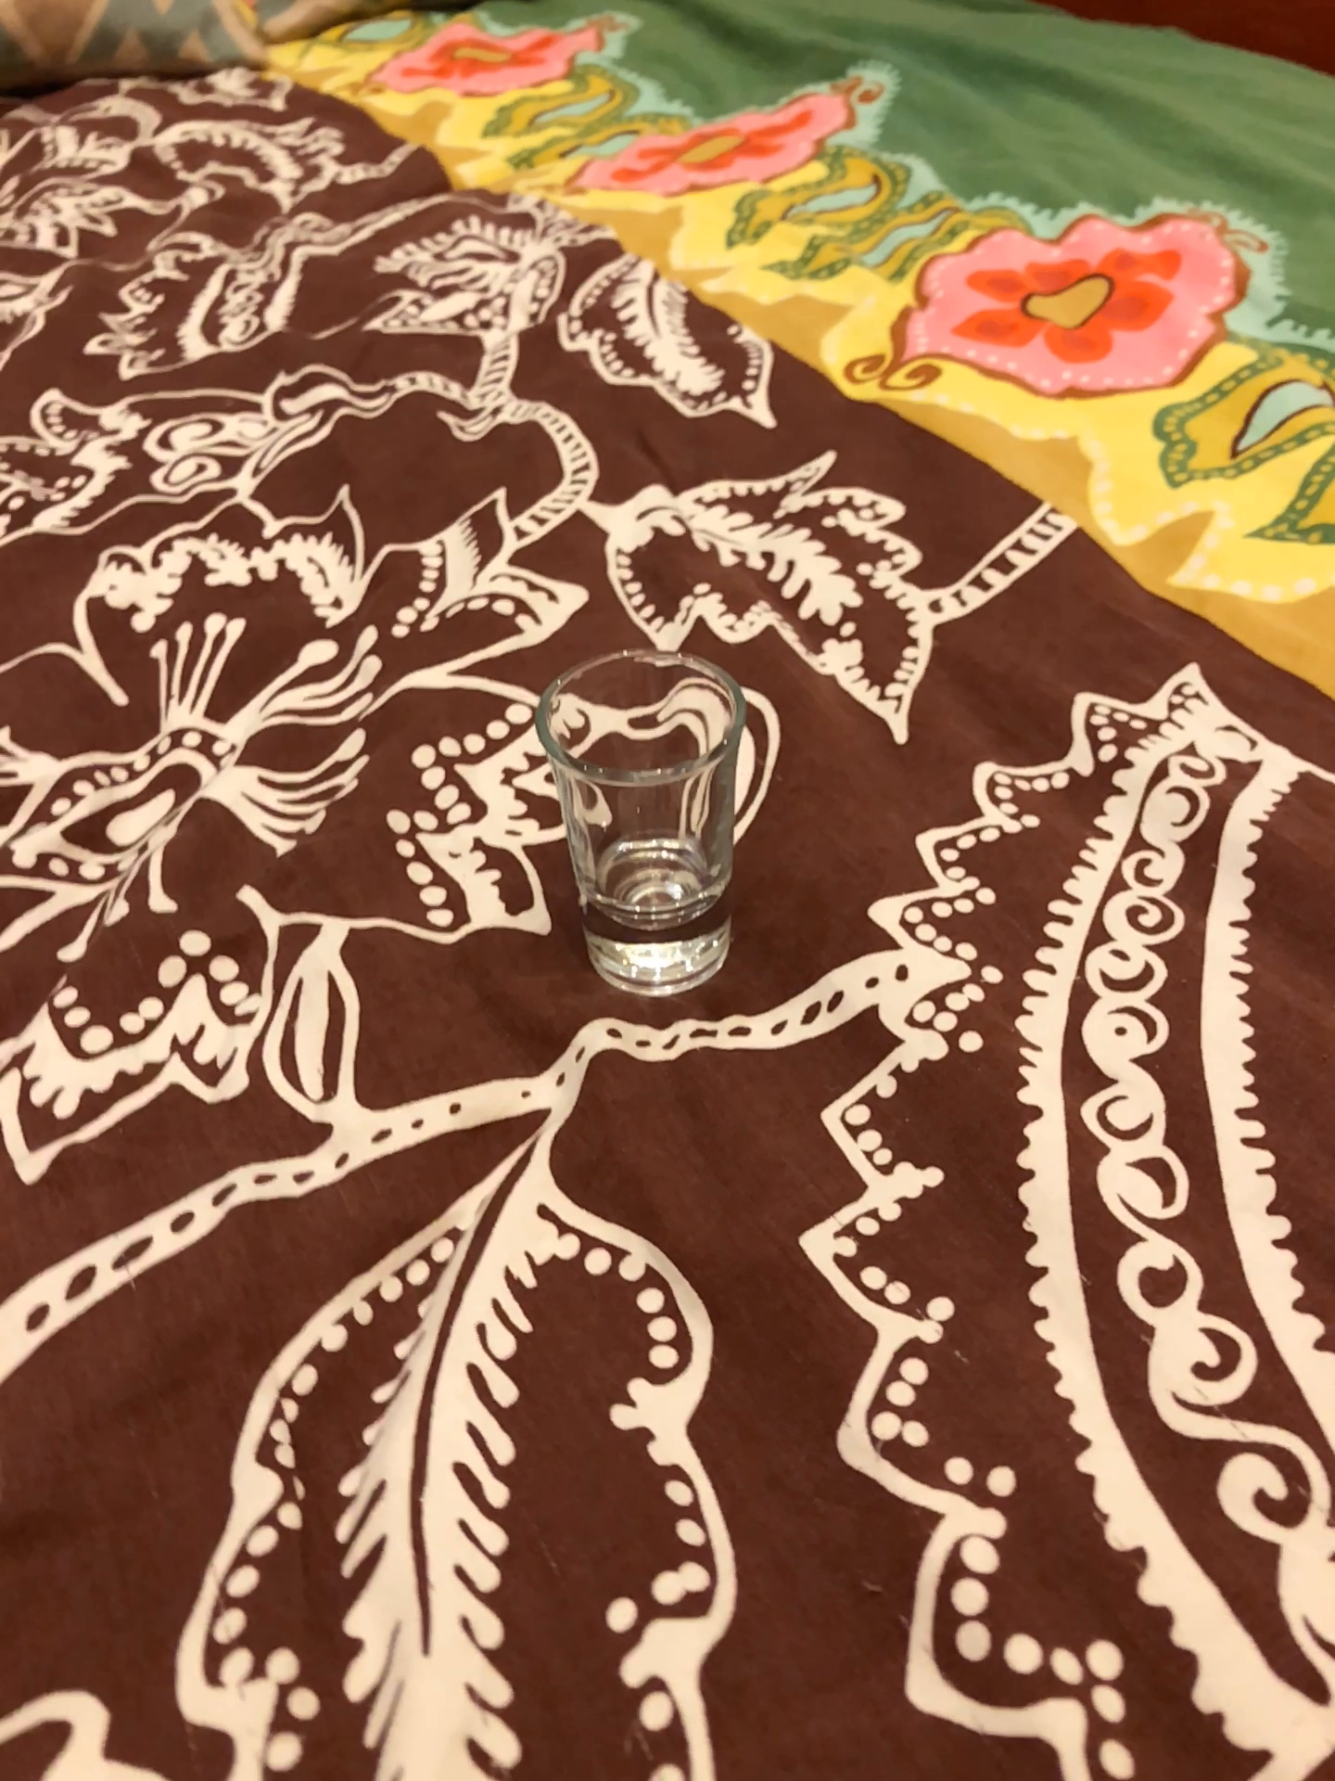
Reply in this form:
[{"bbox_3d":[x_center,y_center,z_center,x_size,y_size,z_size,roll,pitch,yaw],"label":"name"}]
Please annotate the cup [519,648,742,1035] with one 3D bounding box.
[{"bbox_3d":[-0.006,-0.010,0.318,0.042,0.069,0.045,0,42,0],"label":"cup"}]
